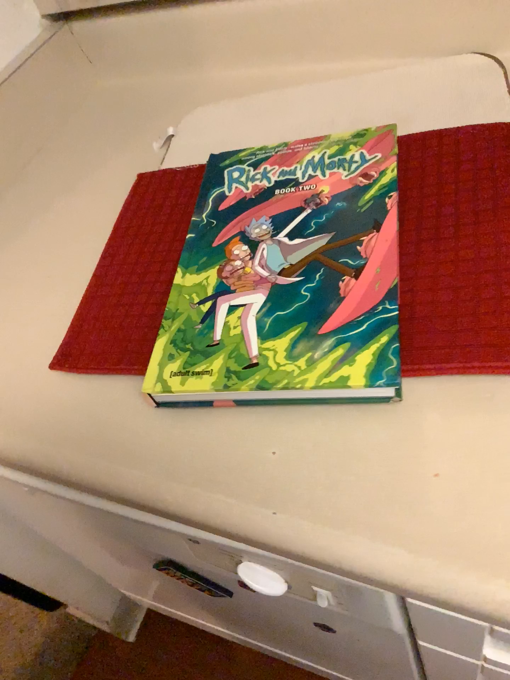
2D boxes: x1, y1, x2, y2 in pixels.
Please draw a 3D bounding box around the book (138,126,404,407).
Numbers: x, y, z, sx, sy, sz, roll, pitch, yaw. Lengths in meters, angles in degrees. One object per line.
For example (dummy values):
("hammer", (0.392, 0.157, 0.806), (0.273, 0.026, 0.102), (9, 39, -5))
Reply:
("book", (0.029, -0.078, 0.514), (0.200, 0.030, 0.300), (-3, 52, 17))
